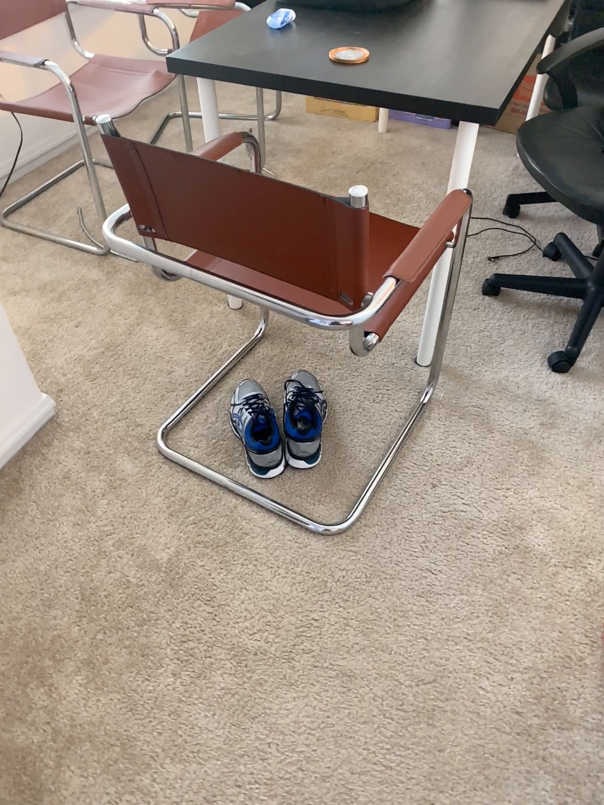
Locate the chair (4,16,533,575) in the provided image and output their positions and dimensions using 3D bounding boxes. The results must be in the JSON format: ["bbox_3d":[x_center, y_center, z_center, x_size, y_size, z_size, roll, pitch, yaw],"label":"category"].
[{"bbox_3d":[-0.022,-0.226,1.291,0.621,0.806,0.622,23,51,21],"label":"chair"}]
